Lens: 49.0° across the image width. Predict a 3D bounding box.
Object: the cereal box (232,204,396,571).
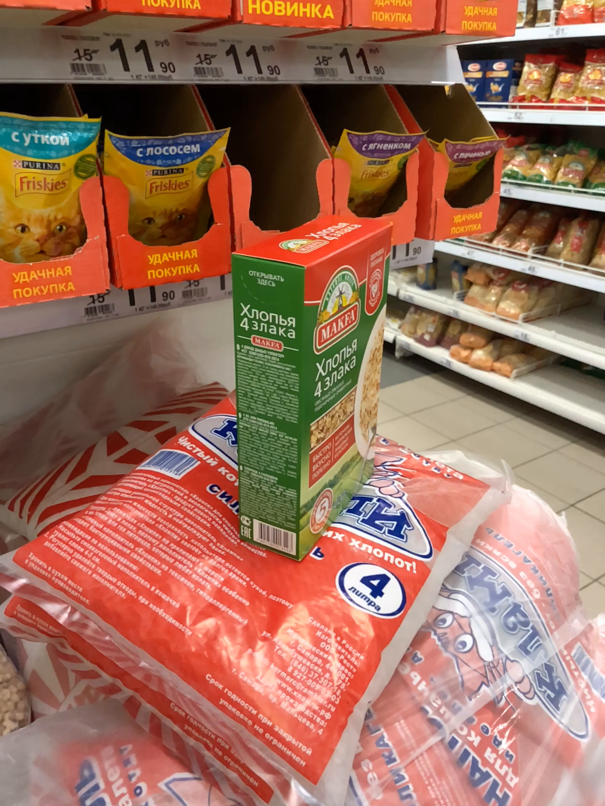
[{"bbox_3d":[0.009,-0.017,0.471,0.050,0.219,0.141,14,27,23],"label":"cereal box"}]
